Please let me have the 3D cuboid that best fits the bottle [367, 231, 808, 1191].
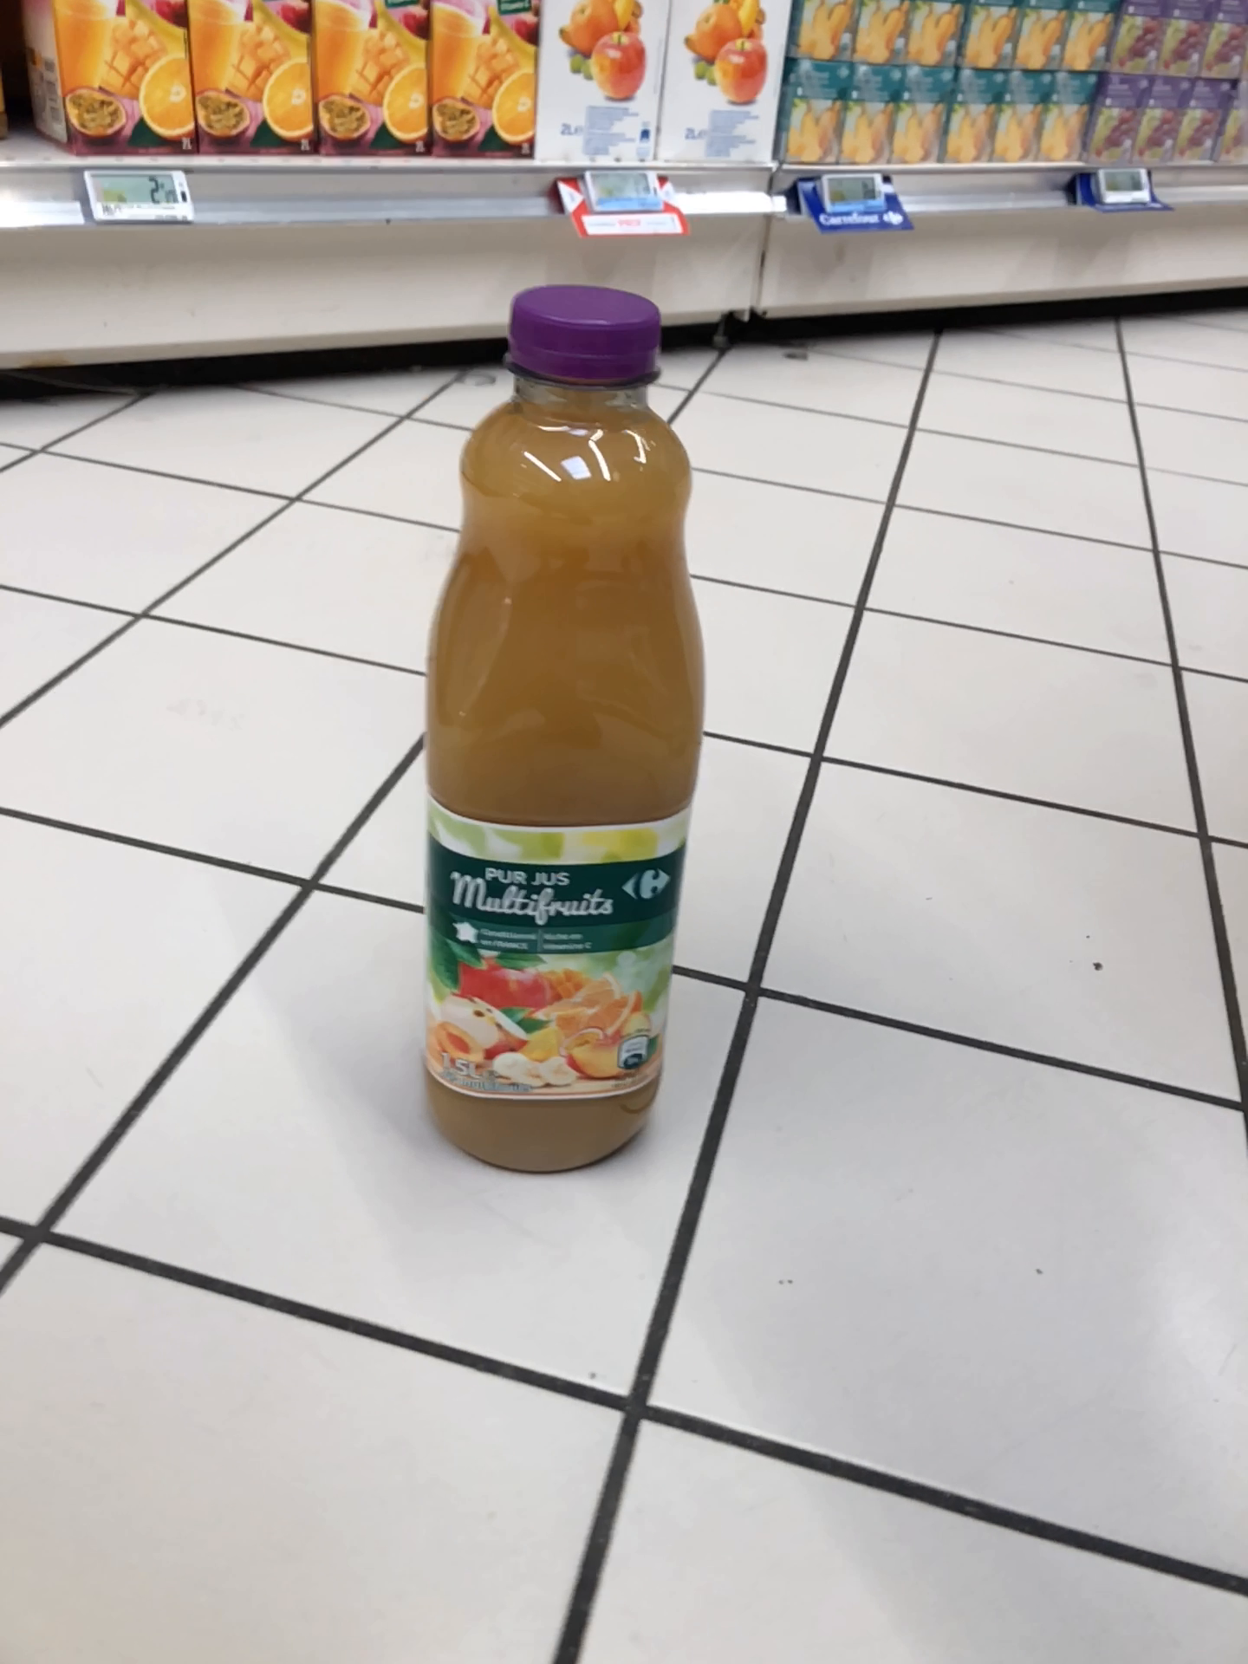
[{"bbox_3d":[-0.024,-0.024,0.427,0.100,0.278,0.101,4,33,-3],"label":"bottle"}]
